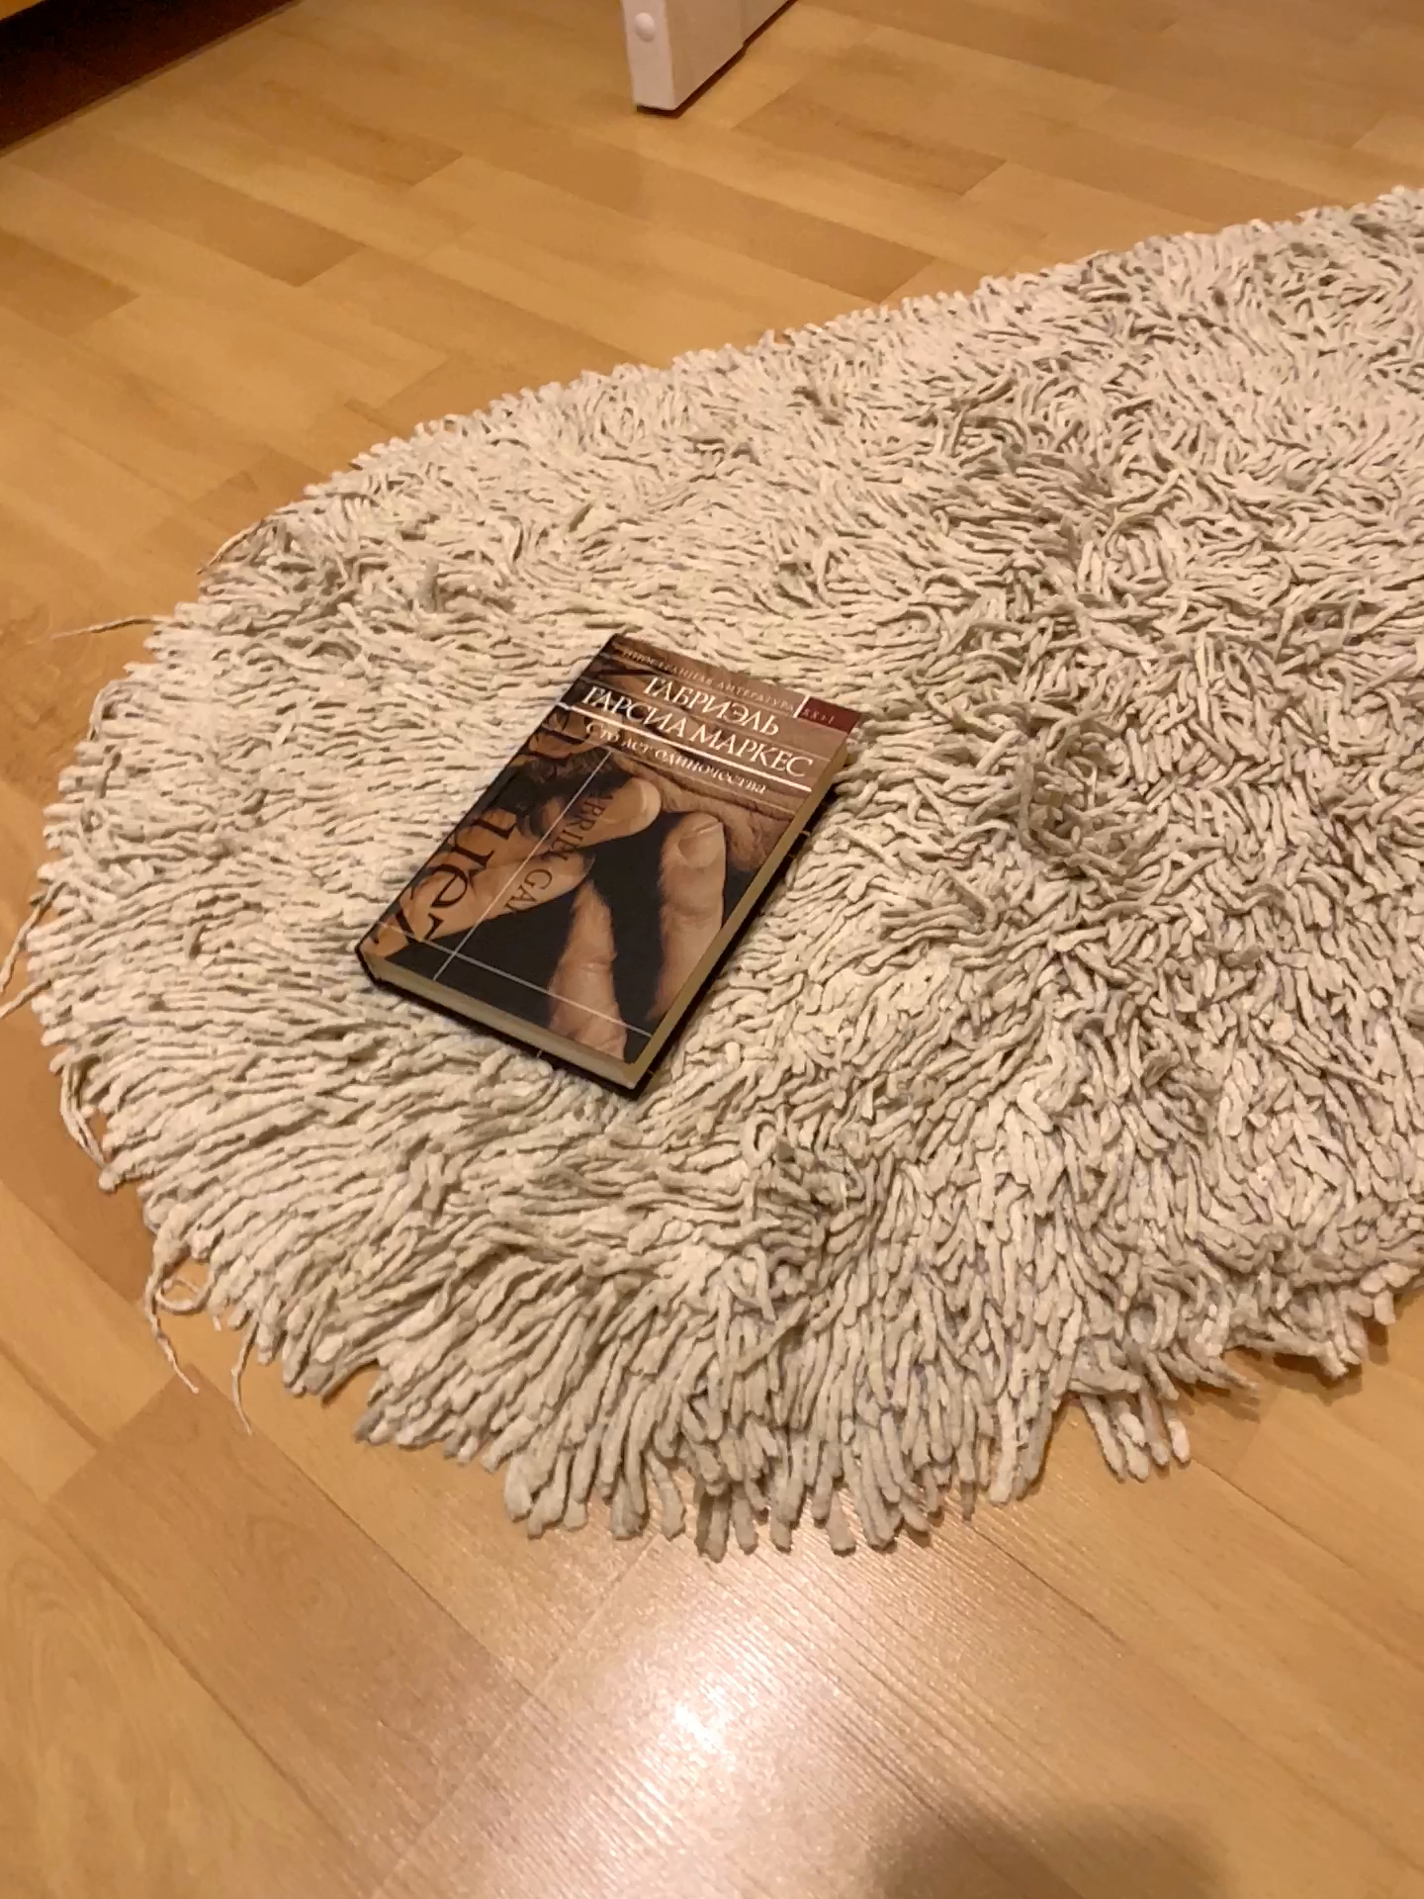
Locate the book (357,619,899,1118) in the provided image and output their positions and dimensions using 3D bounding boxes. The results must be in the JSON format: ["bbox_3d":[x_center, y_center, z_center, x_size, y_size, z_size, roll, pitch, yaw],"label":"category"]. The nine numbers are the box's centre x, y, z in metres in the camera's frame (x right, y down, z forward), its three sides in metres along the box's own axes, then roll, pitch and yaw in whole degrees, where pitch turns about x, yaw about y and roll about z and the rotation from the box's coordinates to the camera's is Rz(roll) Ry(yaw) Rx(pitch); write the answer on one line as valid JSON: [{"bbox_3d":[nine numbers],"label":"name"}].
[{"bbox_3d":[-0.029,-0.046,0.618,0.140,0.030,0.211,22,59,20],"label":"book"}]
